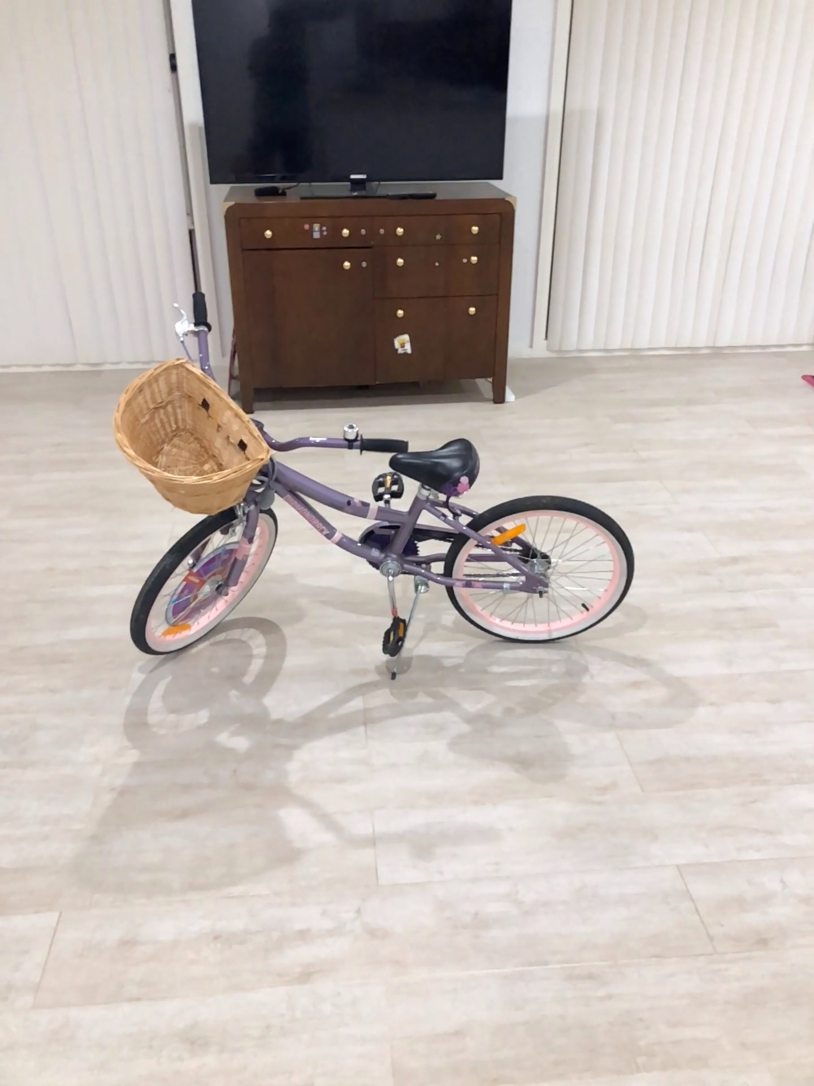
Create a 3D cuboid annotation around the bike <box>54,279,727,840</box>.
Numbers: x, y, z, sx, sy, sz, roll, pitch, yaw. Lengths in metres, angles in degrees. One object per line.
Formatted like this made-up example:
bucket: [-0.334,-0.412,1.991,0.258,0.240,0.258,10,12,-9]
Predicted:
bike: [-0.052,-0.009,2.112,1.214,0.877,0.751,-7,28,-4]
